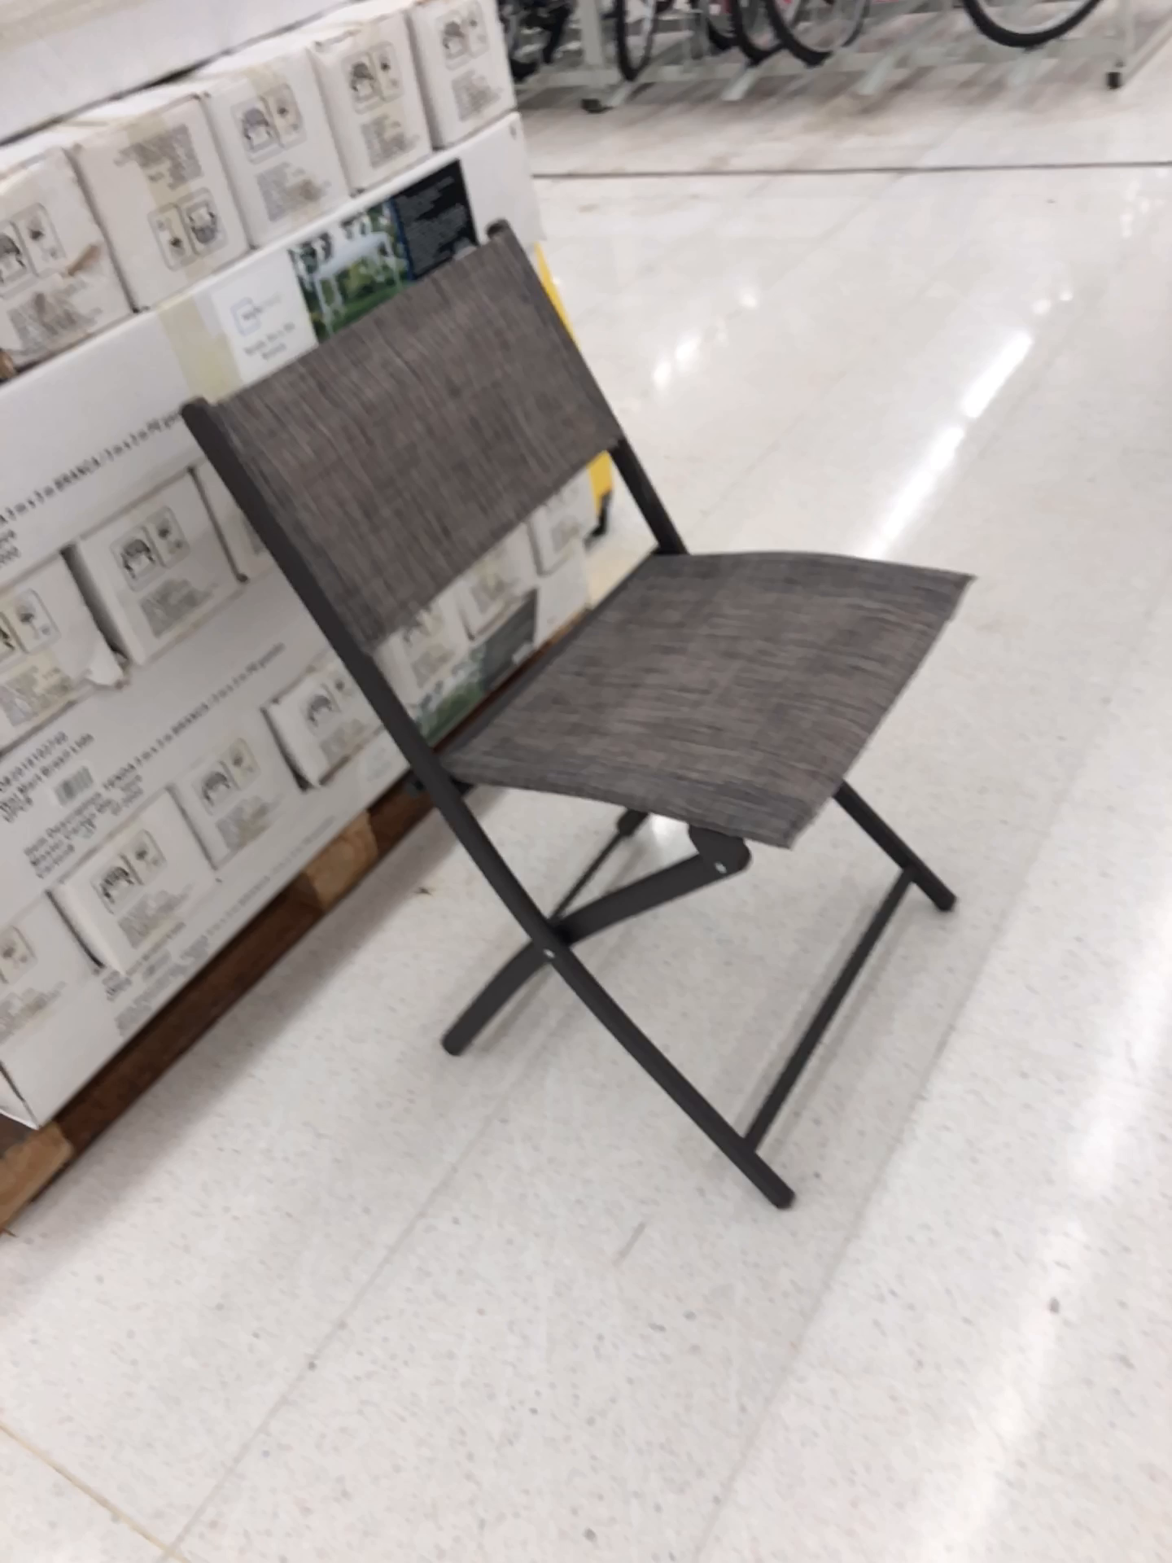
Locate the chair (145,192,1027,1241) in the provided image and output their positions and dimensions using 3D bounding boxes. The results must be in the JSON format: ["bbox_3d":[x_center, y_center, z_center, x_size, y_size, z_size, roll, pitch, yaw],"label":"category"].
[{"bbox_3d":[0.074,-0.082,1.236,0.501,0.755,0.512,15,45,31],"label":"chair"}]
